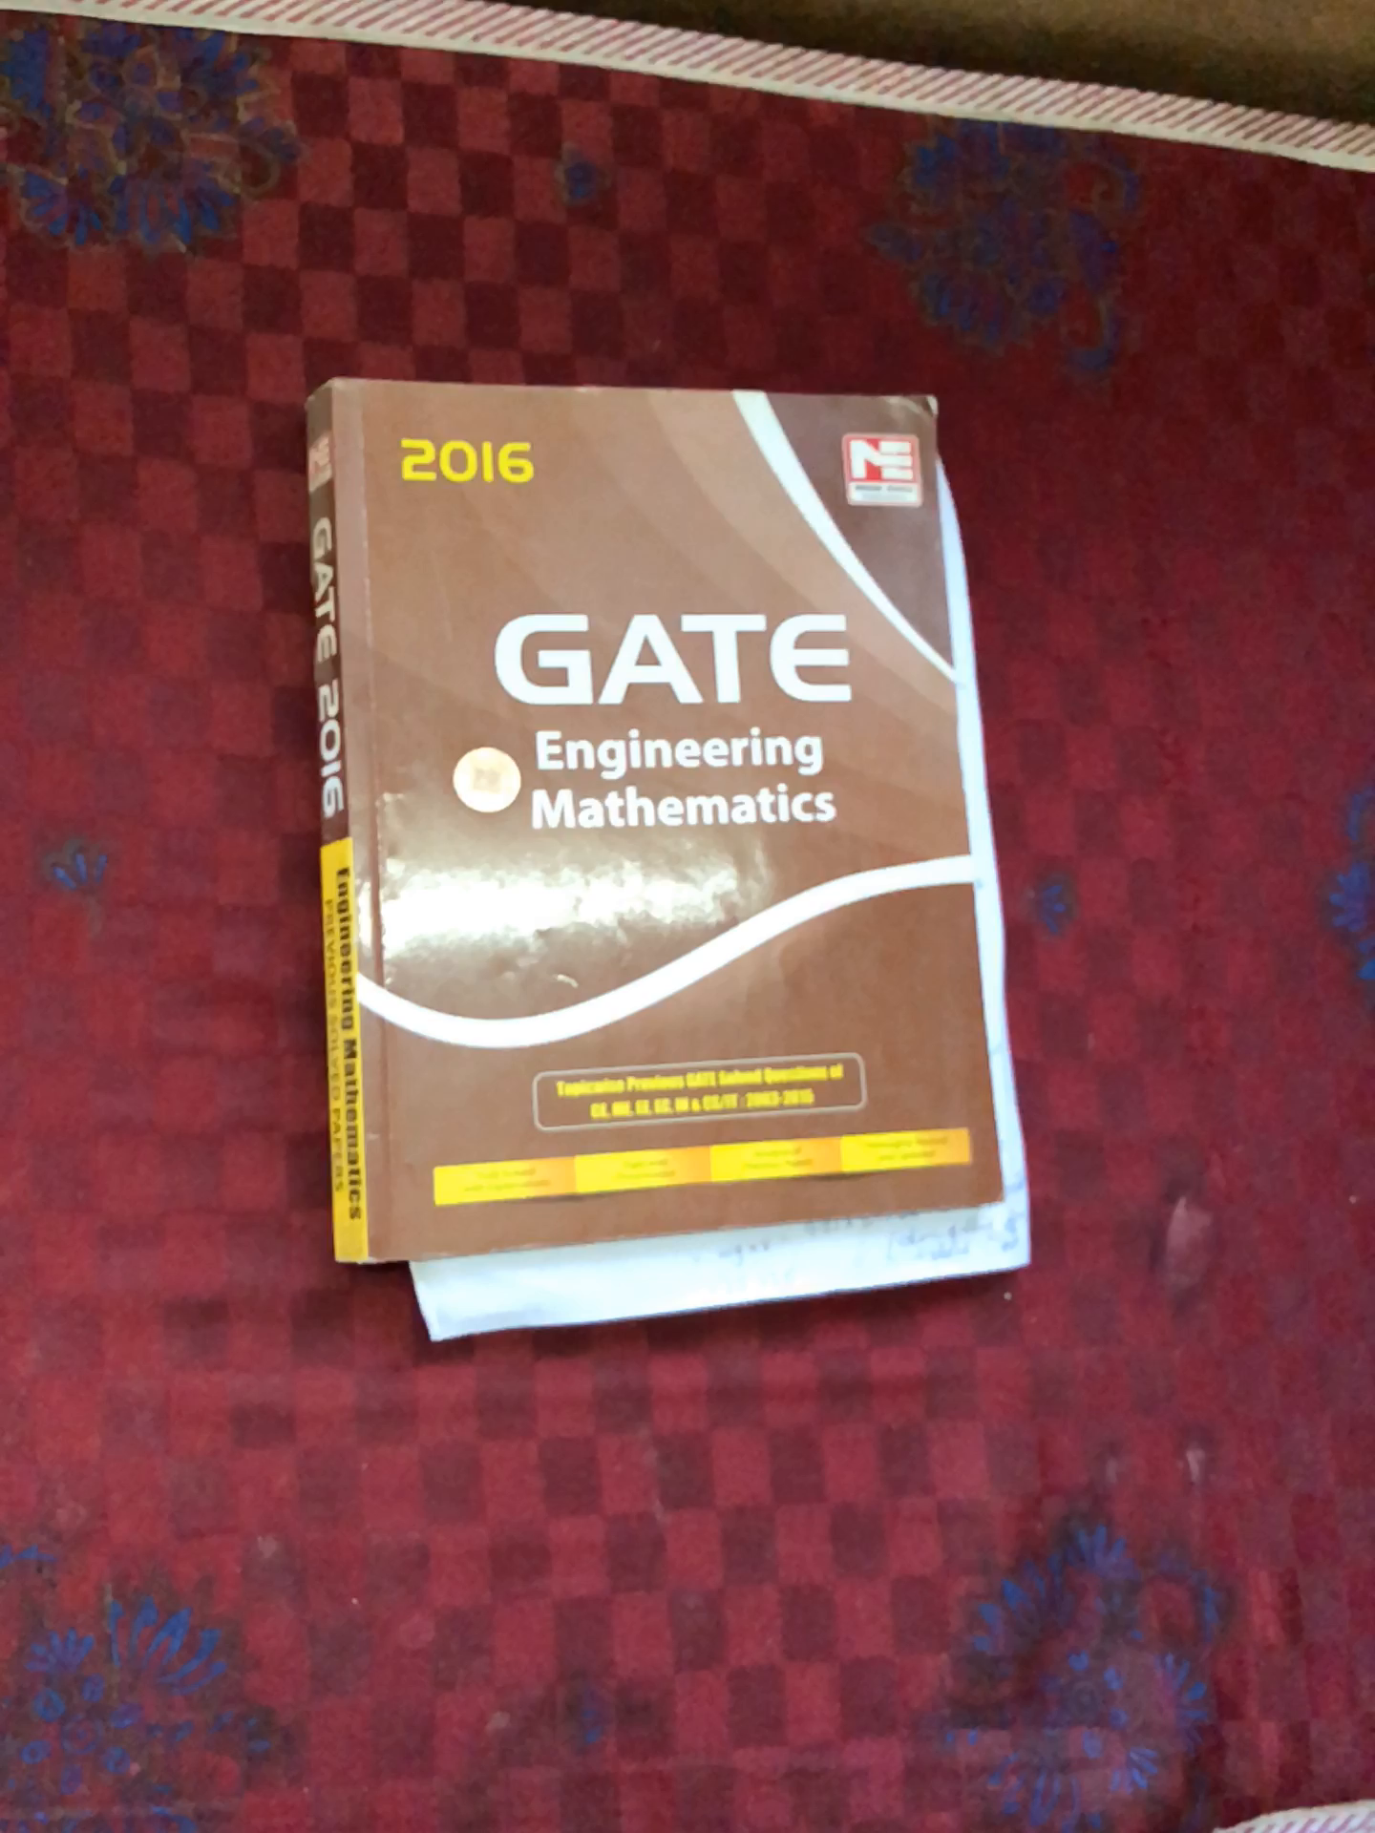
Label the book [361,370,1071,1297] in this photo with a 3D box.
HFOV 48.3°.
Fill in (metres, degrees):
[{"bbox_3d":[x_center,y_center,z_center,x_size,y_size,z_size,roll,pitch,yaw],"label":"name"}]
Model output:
[{"bbox_3d":[0.006,-0.034,0.528,0.220,0.040,0.300,-2,81,-12],"label":"book"}]
